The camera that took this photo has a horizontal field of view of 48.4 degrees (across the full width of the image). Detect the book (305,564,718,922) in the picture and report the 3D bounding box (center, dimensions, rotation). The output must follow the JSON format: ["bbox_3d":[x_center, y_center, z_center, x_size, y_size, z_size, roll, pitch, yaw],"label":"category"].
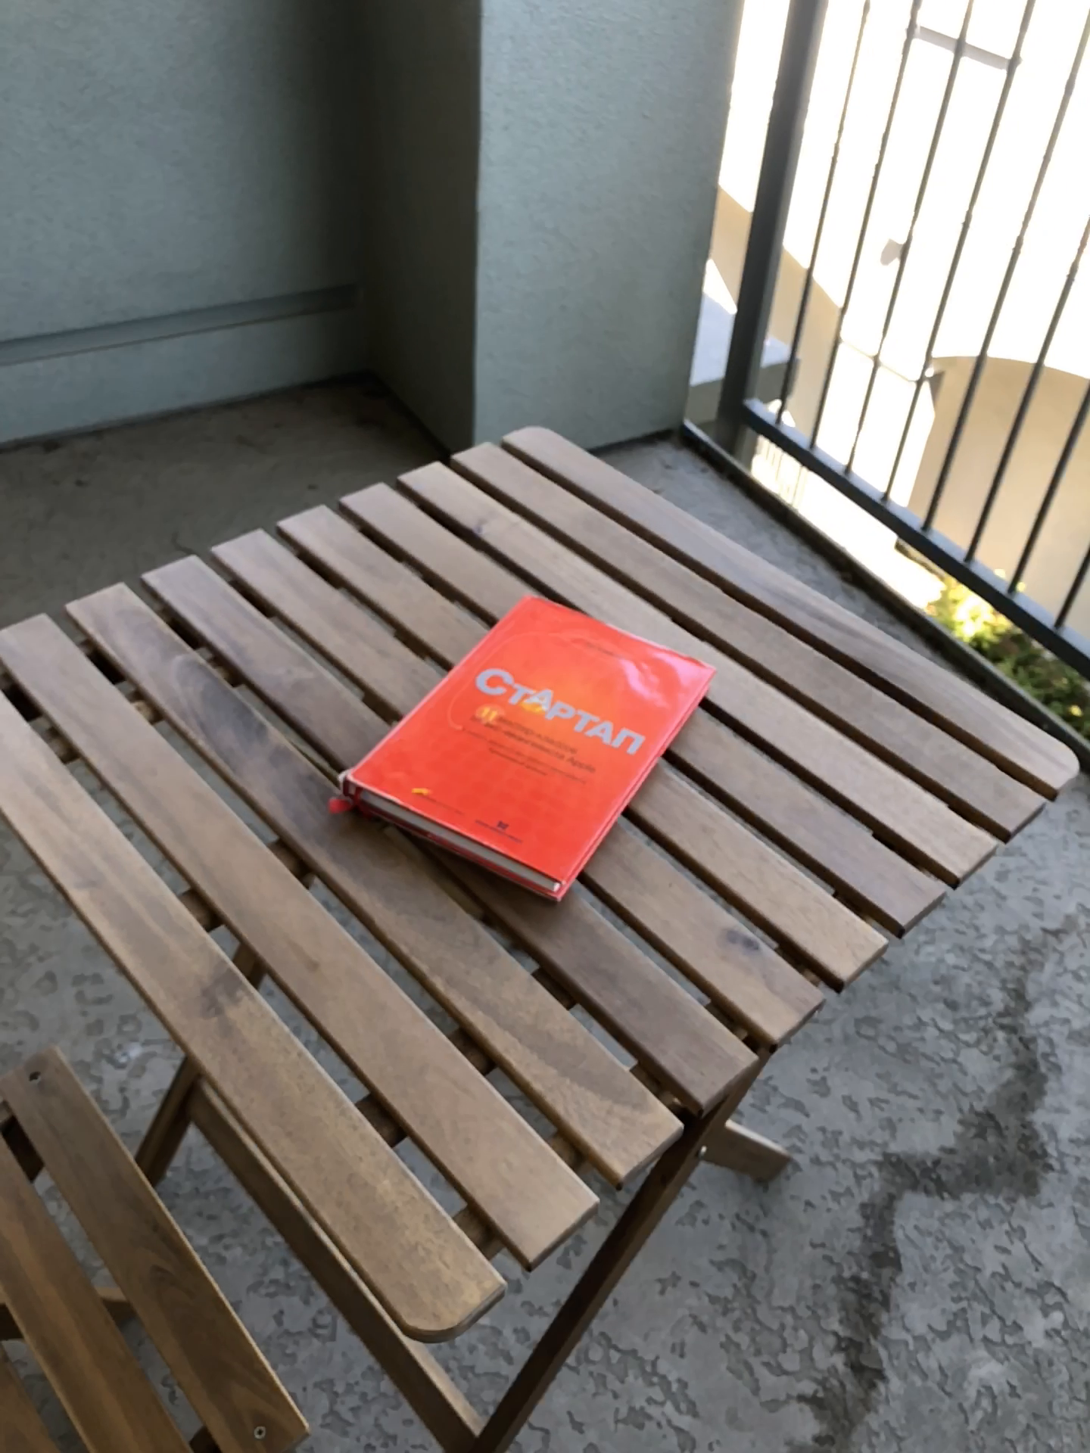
[{"bbox_3d":[-0.016,-0.002,0.831,0.180,0.050,0.241,23,46,19],"label":"book"}]
